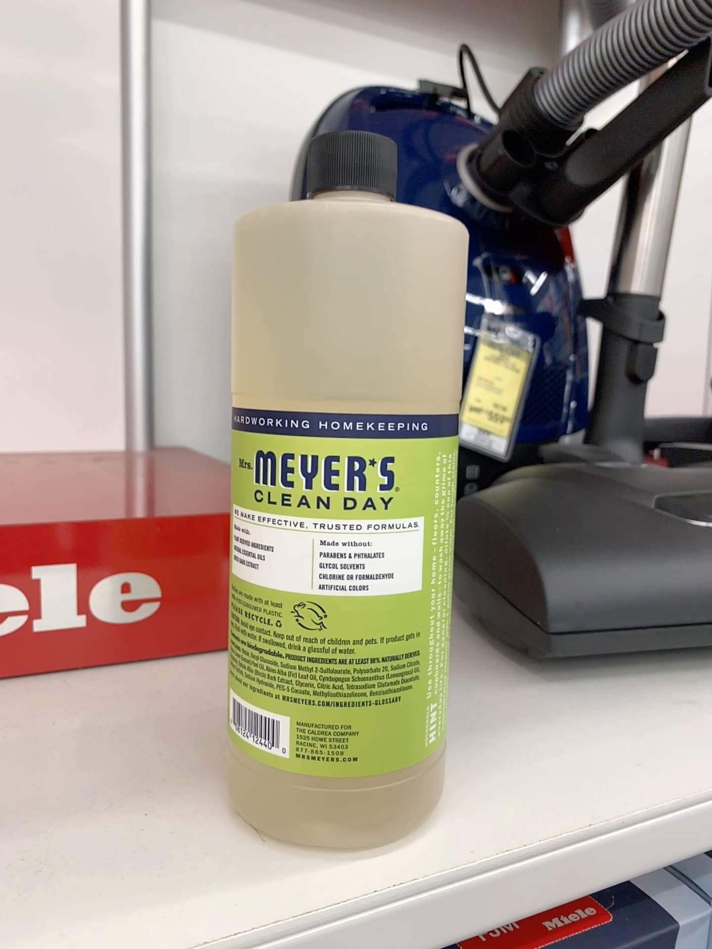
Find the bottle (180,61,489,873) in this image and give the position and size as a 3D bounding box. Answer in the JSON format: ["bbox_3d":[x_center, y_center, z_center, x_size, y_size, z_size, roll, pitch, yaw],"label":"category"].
[{"bbox_3d":[-0.003,-0.002,0.270,0.090,0.240,0.090,1,7,0],"label":"bottle"}]
